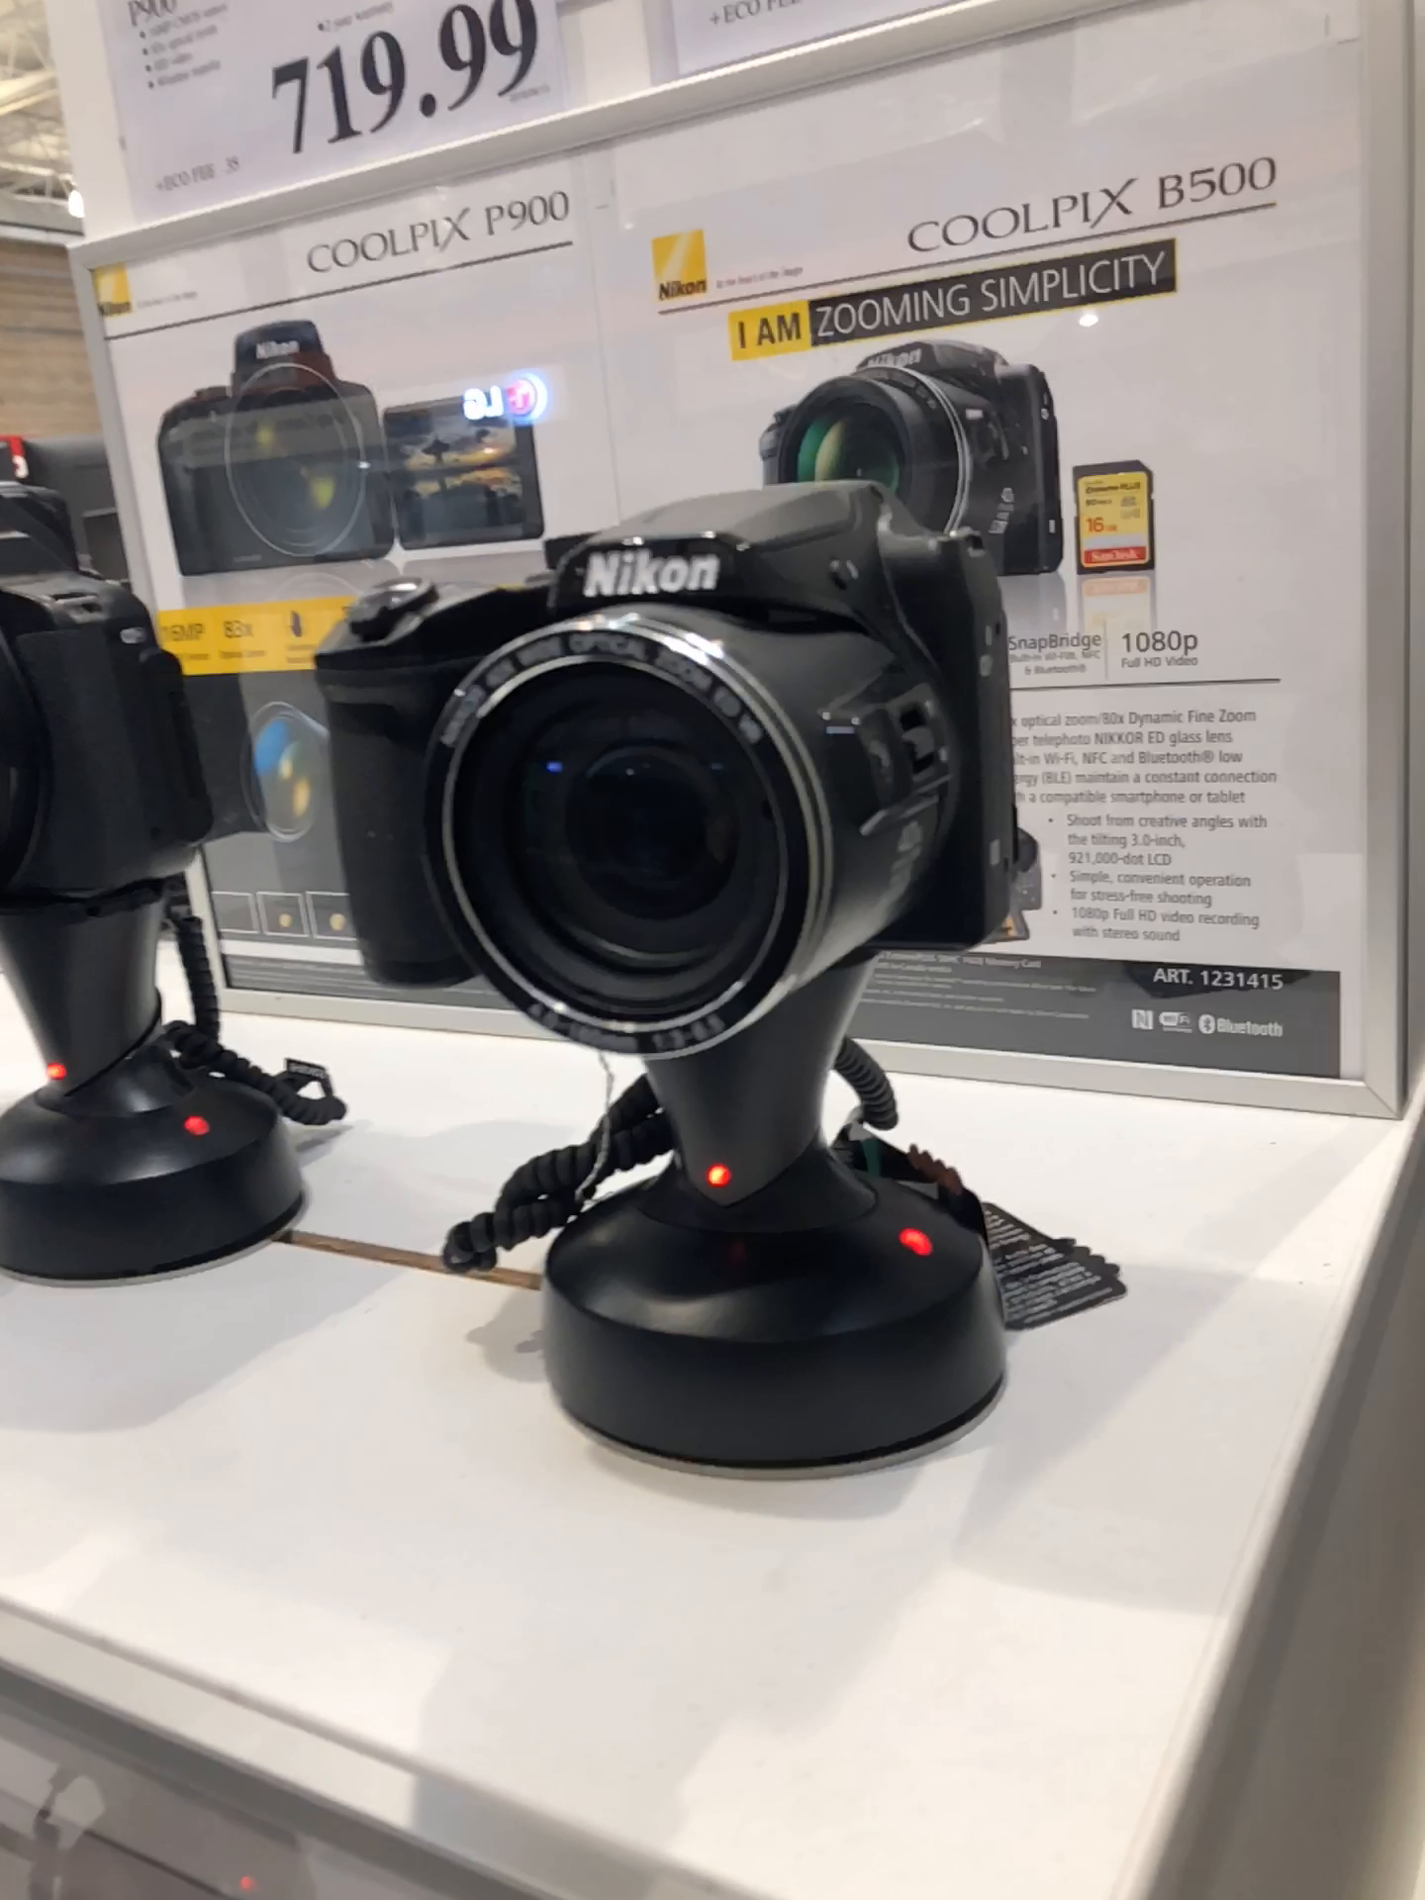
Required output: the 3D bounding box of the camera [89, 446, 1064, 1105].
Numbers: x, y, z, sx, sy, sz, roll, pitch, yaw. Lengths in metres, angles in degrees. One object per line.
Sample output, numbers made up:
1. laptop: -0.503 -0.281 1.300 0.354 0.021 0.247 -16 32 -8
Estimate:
1. camera: -0.016 -0.033 0.256 0.120 0.080 0.090 2 17 27
